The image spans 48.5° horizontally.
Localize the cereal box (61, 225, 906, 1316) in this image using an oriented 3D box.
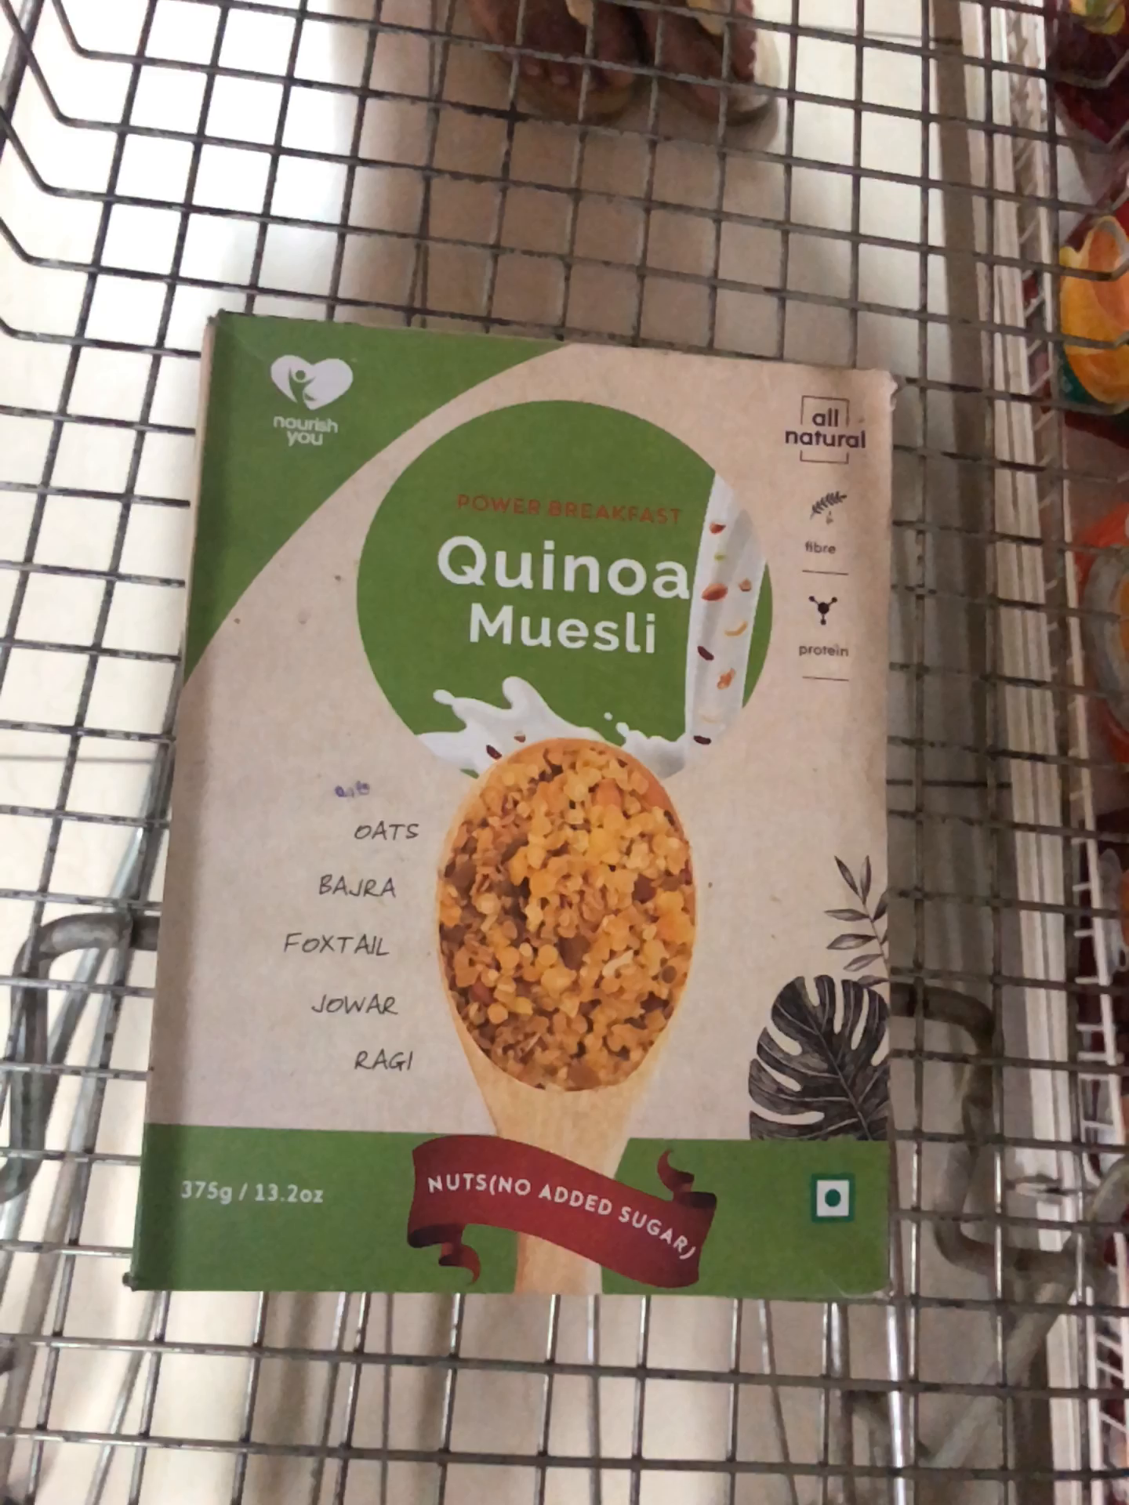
[{"bbox_3d":[-0.012,0.005,0.280,0.160,0.060,0.210,3,82,-8],"label":"cereal box"}]
